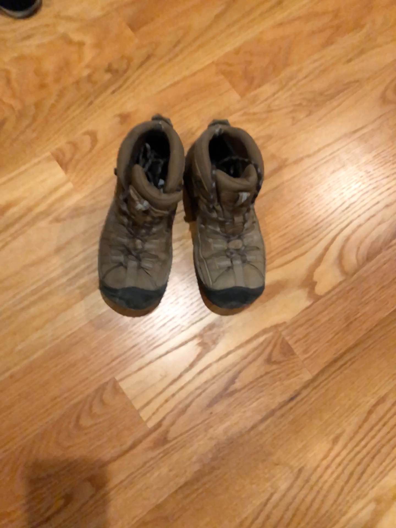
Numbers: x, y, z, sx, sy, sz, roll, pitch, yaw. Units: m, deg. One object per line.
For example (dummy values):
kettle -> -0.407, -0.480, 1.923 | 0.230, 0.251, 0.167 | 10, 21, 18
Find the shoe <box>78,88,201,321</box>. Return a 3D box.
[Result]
shoe -> -0.071, -0.068, 0.575 | 0.107, 0.139, 0.260 | 8, 75, -5

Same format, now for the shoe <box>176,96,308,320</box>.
shoe -> 0.047, -0.068, 0.591 | 0.107, 0.139, 0.260 | -7, 77, -9
